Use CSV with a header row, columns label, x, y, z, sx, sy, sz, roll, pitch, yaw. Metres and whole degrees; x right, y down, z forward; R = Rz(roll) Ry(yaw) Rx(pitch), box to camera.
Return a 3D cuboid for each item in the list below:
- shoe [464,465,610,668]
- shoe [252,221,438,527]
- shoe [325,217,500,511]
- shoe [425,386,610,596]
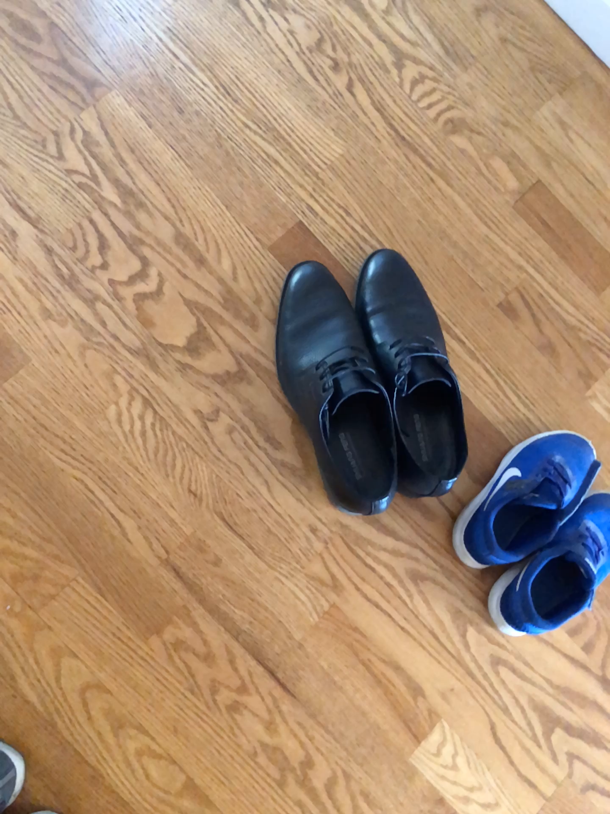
label,x,y,z,sx,sy,sz,roll,pitch,yaw
shoe,0.309,0.183,0.793,0.220,0.070,0.100,-42,88,-14
shoe,0.038,-0.036,0.767,0.120,0.090,0.320,-13,82,-12
shoe,0.119,-0.049,0.787,0.120,0.090,0.320,-9,81,-11
shoe,0.276,0.097,0.781,0.230,0.130,0.100,-39,88,-14
